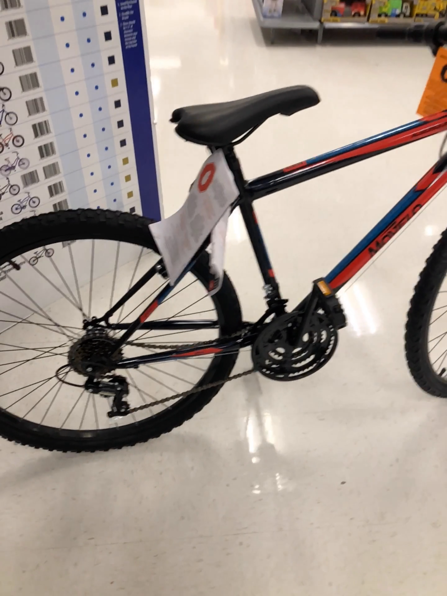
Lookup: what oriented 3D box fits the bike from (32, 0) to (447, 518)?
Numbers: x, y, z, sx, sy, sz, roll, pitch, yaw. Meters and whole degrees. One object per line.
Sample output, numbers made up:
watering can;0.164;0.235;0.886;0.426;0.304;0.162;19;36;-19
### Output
bike;0.369;-0.148;1.068;1.285;0.942;0.562;-10;44;-10
